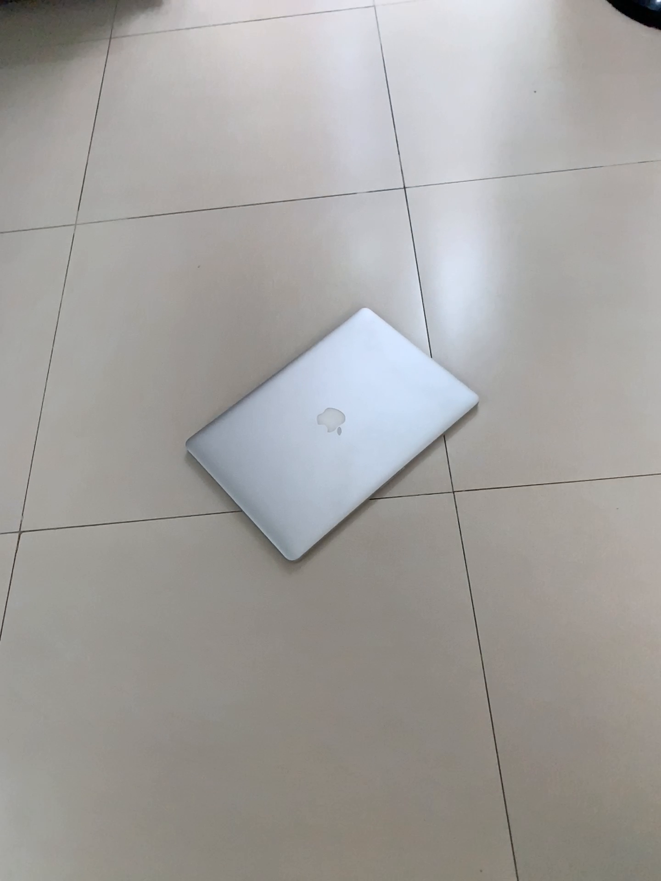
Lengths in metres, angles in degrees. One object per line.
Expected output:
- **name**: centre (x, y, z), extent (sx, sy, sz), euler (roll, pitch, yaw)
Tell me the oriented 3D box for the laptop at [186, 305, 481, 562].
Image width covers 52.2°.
- **laptop**: centre (0.004, -0.029, 0.965), extent (0.356, 0.001, 0.239), euler (-40, 65, -15)
